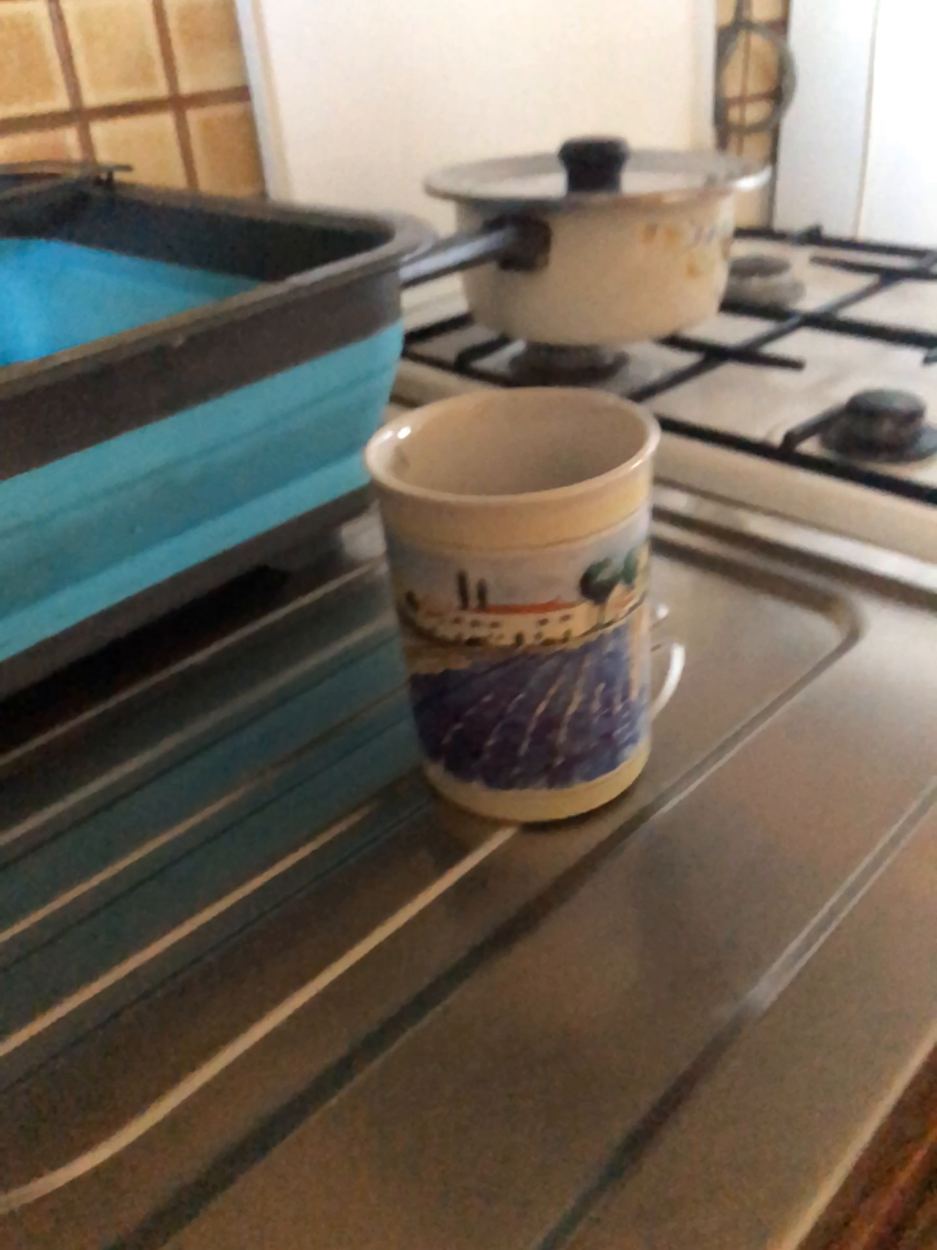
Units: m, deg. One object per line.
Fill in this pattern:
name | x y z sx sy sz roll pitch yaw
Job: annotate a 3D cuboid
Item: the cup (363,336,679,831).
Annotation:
cup | 0.015 -0.017 0.304 0.070 0.099 0.111 -3 31 2
